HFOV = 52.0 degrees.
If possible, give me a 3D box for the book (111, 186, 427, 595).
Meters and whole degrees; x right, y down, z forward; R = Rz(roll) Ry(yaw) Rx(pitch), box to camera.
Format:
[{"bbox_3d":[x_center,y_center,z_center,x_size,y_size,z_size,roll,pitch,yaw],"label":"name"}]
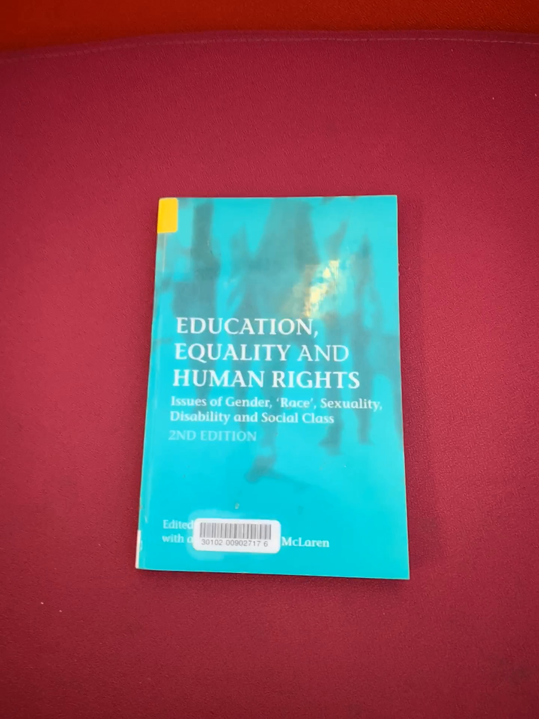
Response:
[{"bbox_3d":[0.000,0.012,0.355,0.180,0.030,0.250,0,78,4],"label":"book"}]
